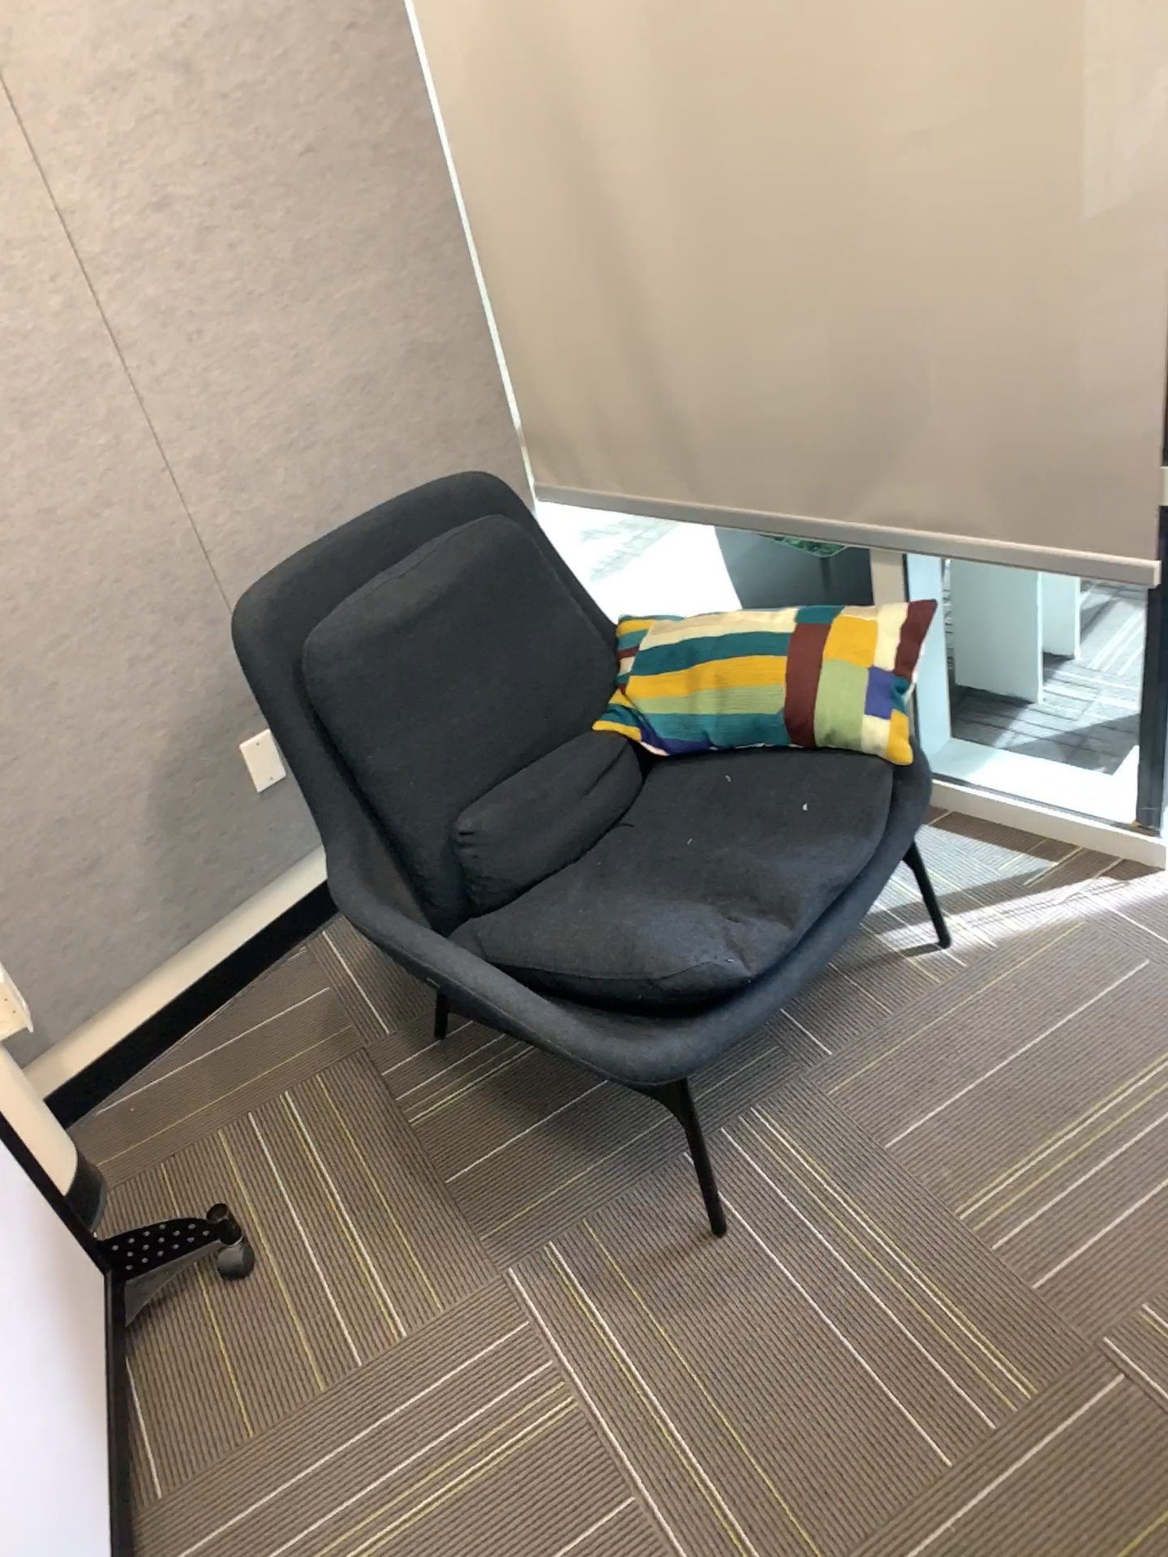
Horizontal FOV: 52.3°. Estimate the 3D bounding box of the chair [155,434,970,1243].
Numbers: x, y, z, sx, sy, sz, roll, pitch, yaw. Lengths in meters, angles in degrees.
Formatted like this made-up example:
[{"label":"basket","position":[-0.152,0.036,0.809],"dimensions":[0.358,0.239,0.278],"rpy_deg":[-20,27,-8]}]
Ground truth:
[{"label":"chair","position":[-0.015,-0.001,2.053],"dimensions":[0.791,0.815,1.005],"rpy_deg":[-36,39,-28]}]
